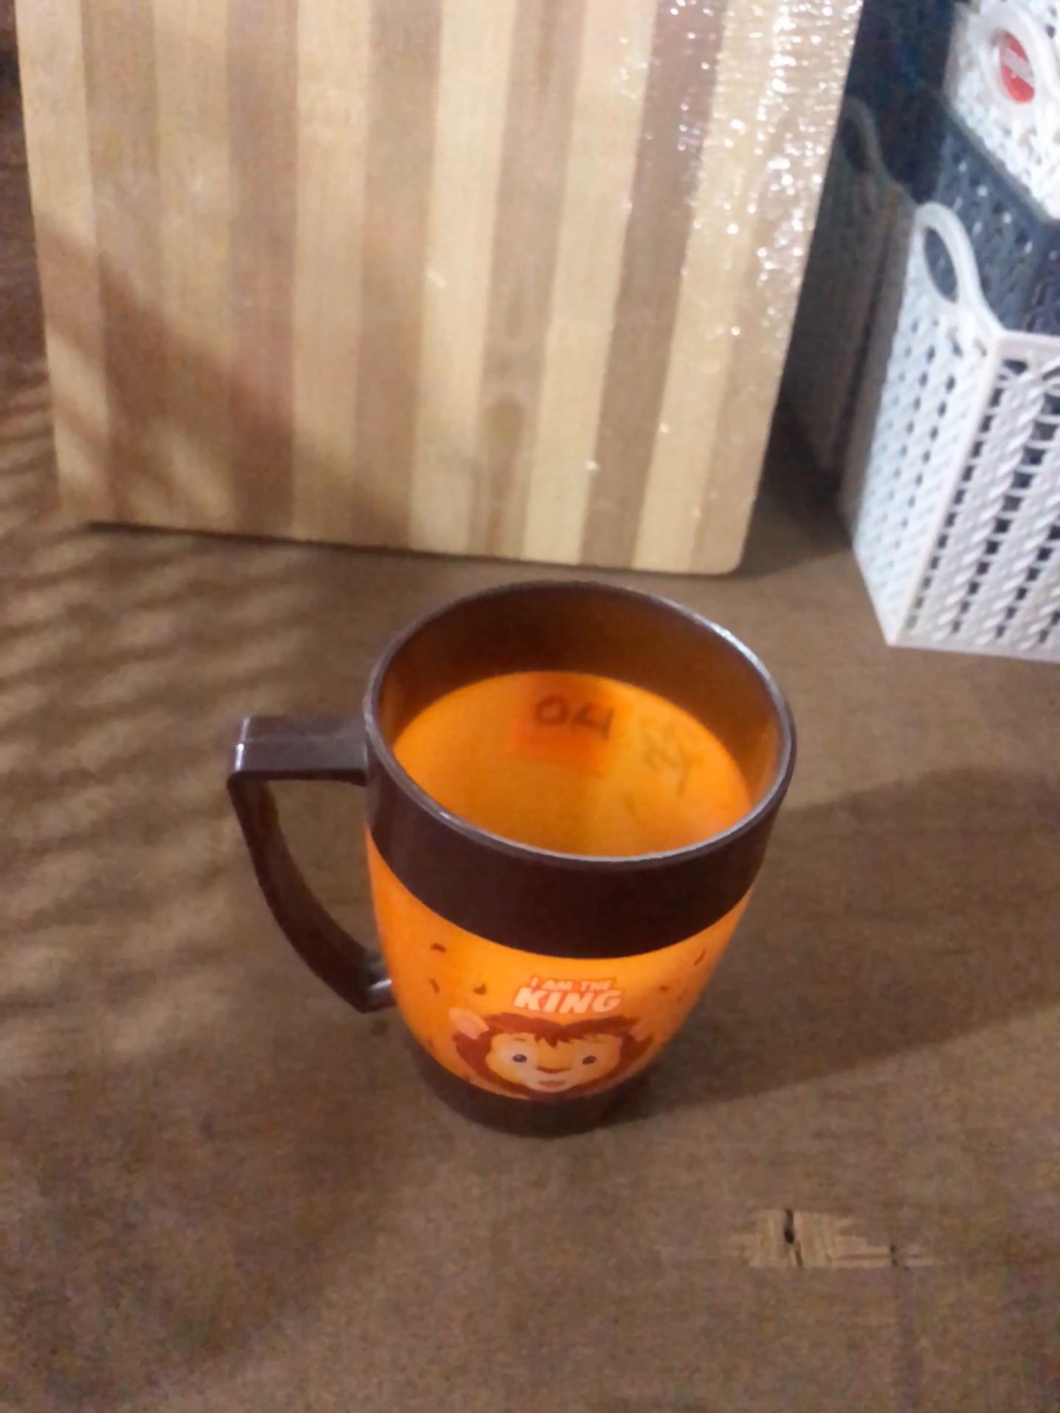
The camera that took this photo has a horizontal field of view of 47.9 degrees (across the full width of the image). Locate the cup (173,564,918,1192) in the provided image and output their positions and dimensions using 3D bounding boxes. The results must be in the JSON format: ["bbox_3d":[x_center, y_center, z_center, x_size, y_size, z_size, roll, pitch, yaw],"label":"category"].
[{"bbox_3d":[0.000,0.033,0.212,0.100,0.089,0.060,5,43,-2],"label":"cup"}]
